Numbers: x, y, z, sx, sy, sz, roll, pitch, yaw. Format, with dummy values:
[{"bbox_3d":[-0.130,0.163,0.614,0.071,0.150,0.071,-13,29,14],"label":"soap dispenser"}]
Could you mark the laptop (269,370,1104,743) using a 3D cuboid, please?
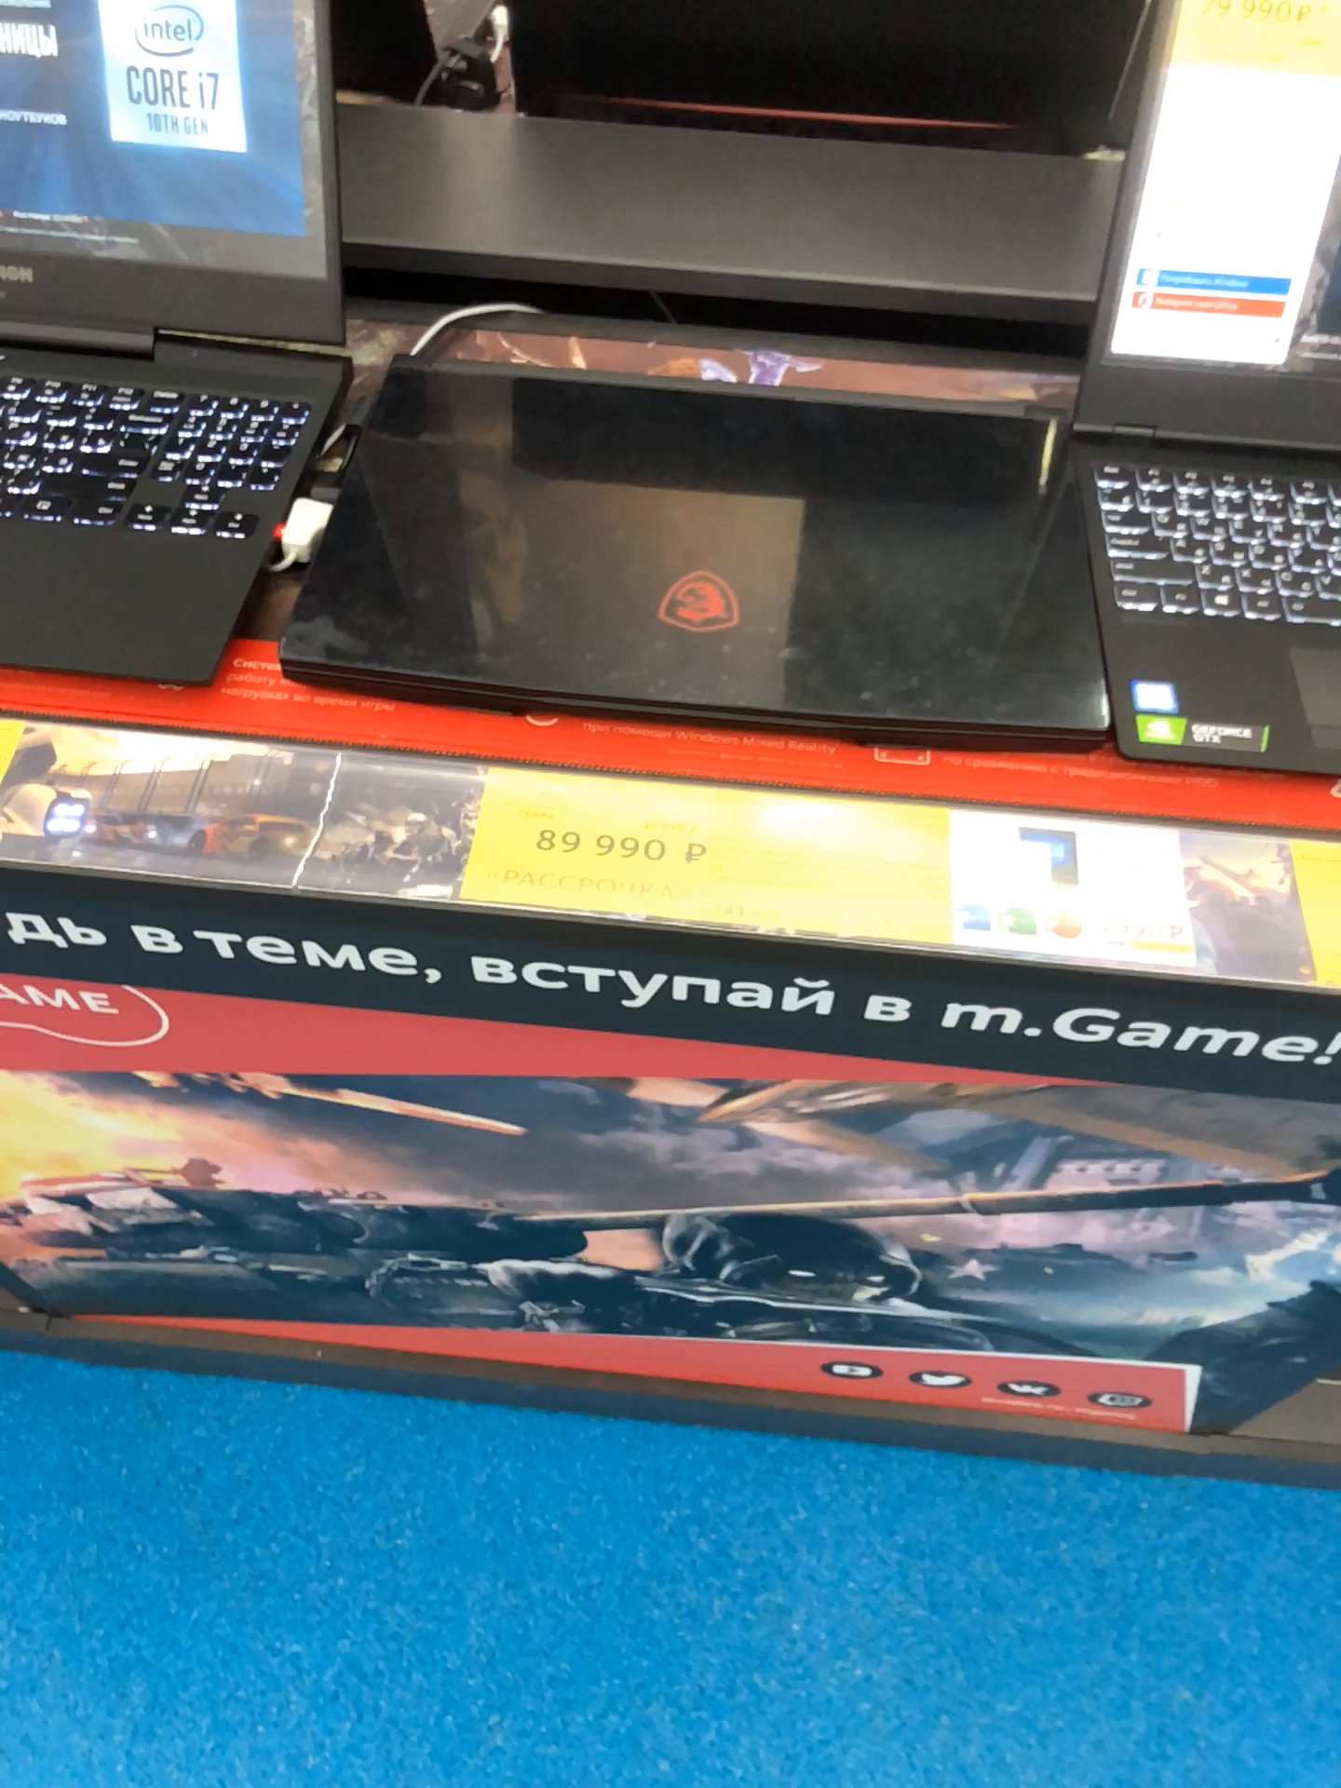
[{"bbox_3d":[0.014,-0.170,0.701,0.353,0.002,0.240,5,49,2],"label":"laptop"}]
